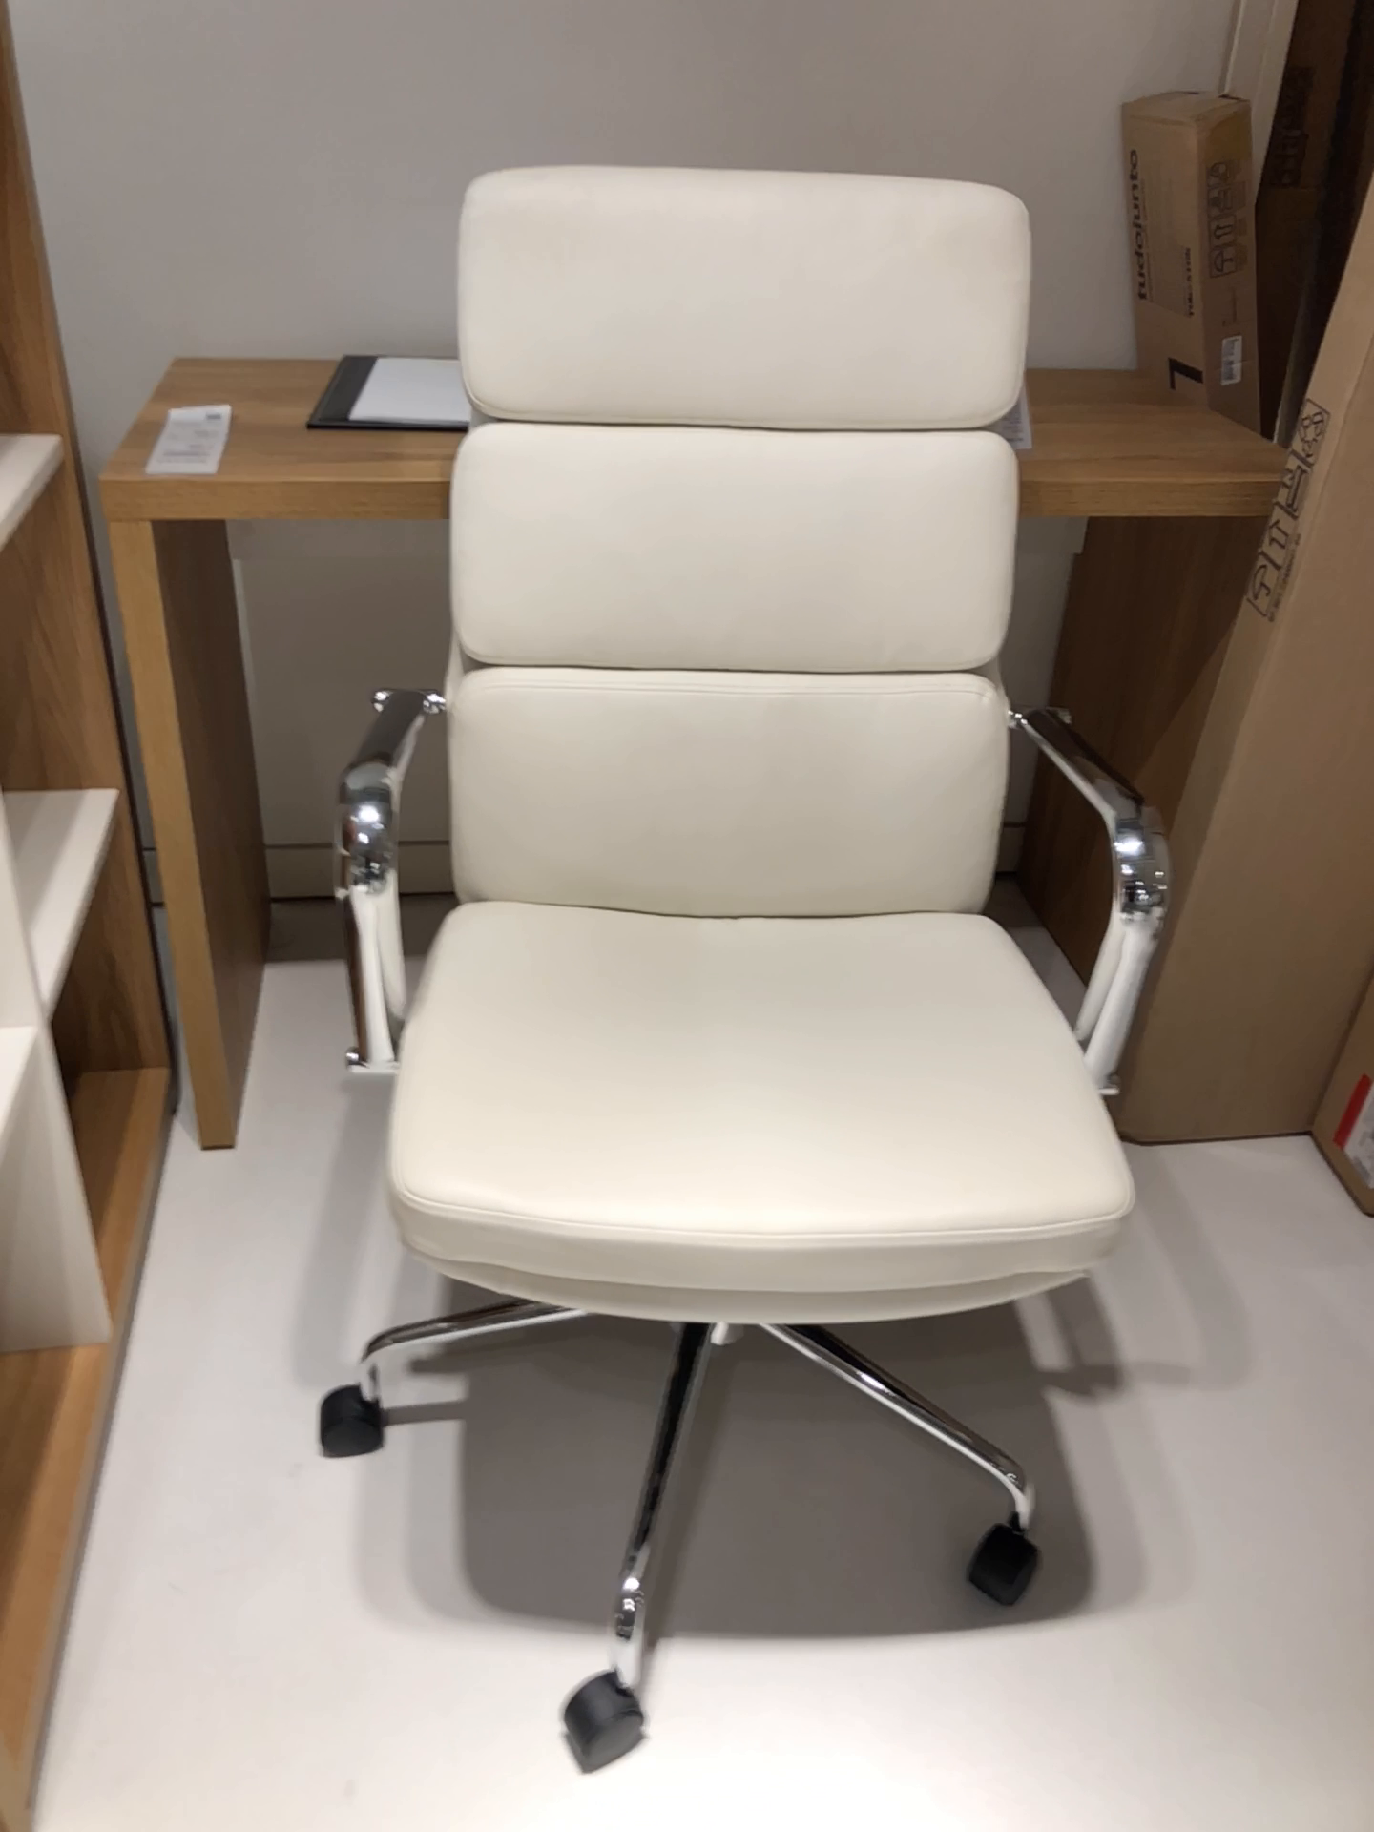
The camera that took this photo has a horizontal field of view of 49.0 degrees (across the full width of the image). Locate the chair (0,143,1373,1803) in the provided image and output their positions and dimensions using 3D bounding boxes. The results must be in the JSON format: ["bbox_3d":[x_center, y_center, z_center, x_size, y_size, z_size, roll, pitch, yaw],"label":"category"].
[{"bbox_3d":[-0.004,0.023,1.165,0.640,1.032,0.685,-1,31,-7],"label":"chair"}]
